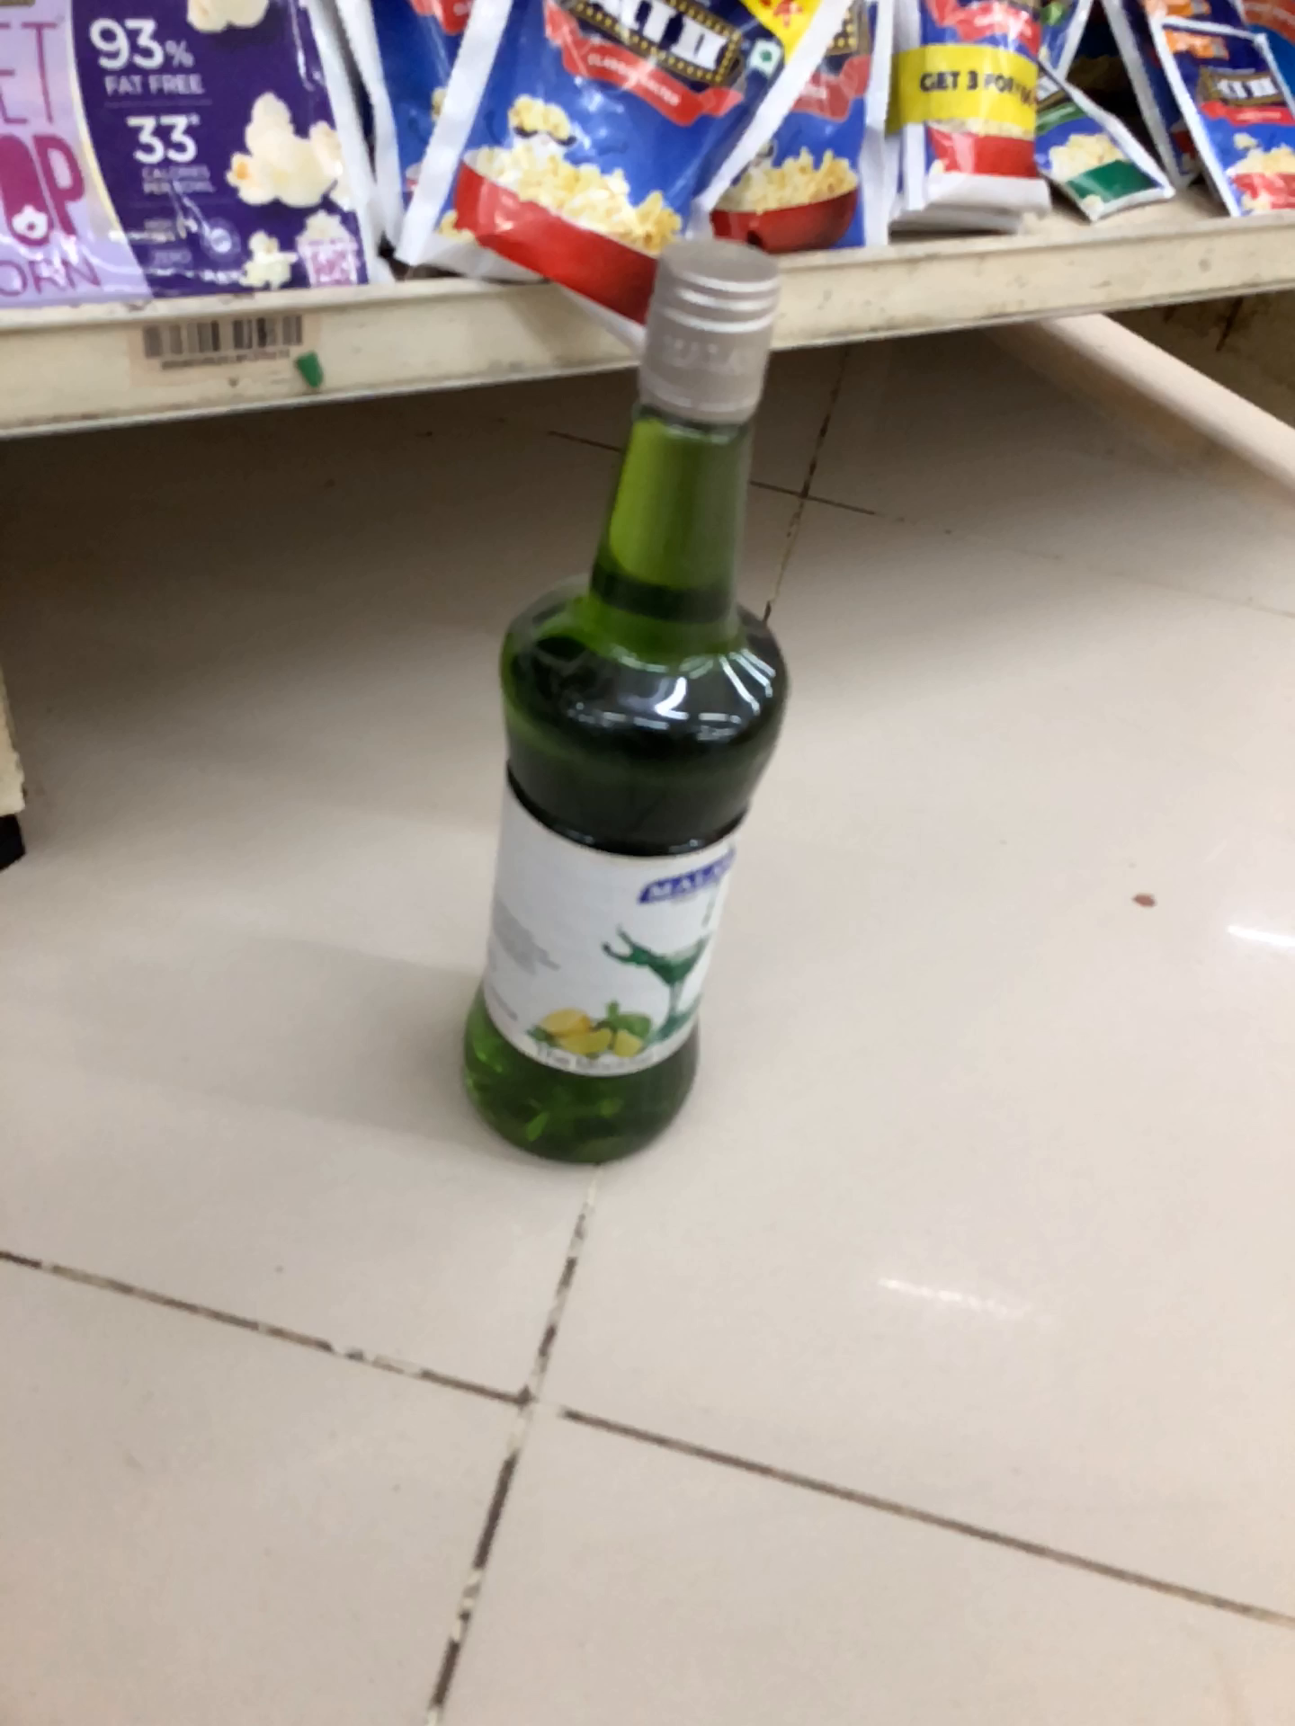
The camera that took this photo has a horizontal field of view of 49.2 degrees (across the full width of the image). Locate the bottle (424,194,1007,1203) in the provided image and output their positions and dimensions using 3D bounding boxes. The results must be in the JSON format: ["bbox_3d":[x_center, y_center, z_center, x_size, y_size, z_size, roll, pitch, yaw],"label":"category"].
[{"bbox_3d":[0.000,-0.031,0.413,0.090,0.278,0.090,6,43,-5],"label":"bottle"}]
